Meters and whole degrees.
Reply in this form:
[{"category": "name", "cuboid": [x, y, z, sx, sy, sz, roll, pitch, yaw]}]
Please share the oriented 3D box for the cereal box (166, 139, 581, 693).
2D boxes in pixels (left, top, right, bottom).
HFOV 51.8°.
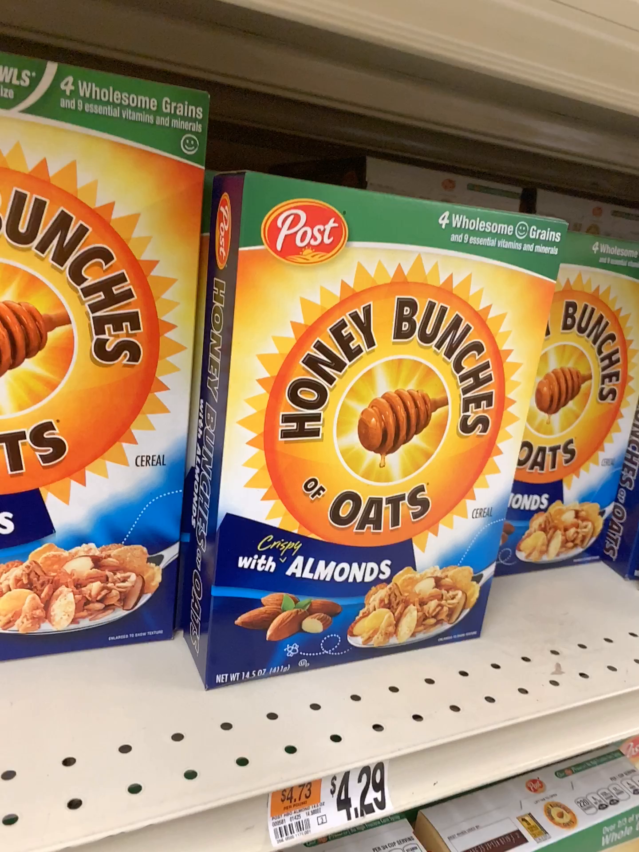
[{"category": "cereal box", "cuboid": [0.025, 0.001, 0.385, 0.200, 0.279, 0.060, -1, 18, -26]}]
